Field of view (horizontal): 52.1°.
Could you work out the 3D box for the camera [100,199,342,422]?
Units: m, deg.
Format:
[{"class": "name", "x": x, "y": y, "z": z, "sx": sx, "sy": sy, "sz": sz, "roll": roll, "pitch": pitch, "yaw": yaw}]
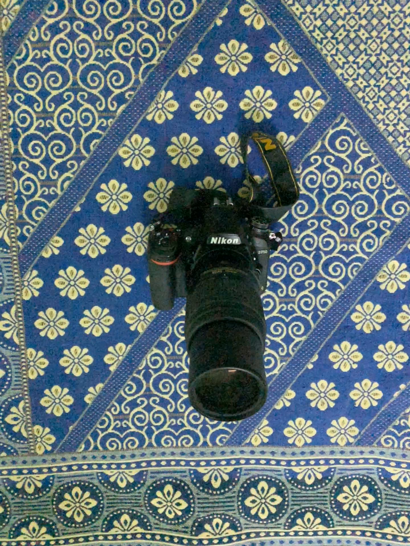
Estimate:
[{"class": "camera", "x": 0.010, "y": 0.019, "z": 0.391, "sx": 0.160, "sy": 0.191, "sz": 0.131, "roll": 1, "pitch": 114, "yaw": 0}]
